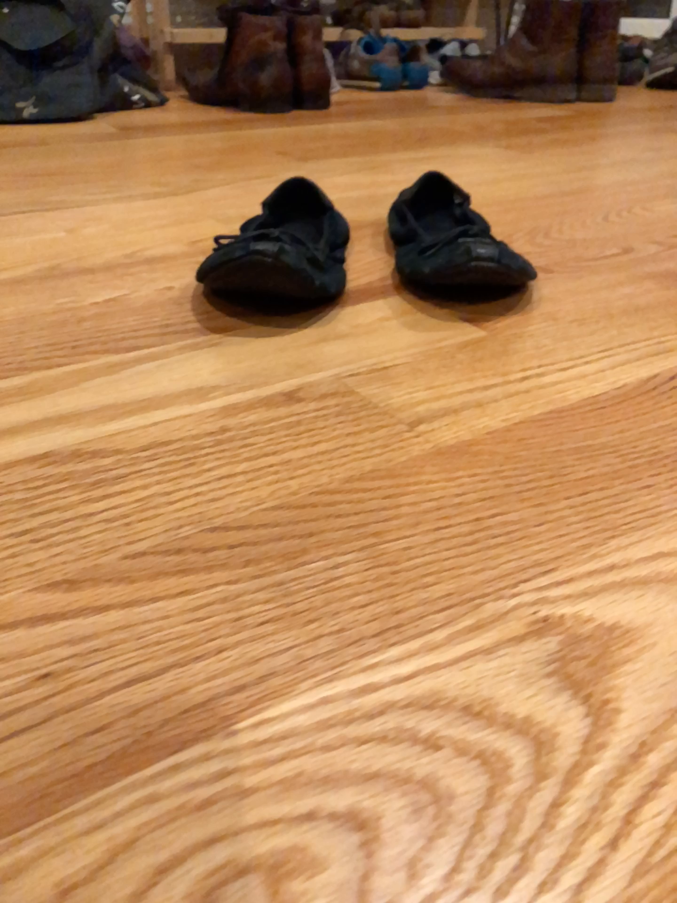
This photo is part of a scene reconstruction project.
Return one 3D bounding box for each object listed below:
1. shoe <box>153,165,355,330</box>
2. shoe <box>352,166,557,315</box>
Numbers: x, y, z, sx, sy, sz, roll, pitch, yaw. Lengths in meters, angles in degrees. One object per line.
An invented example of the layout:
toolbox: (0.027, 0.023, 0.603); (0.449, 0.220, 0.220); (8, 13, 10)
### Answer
shoe: (-0.045, -0.149, 0.515); (0.100, 0.050, 0.221); (3, 31, 3)
shoe: (0.068, -0.158, 0.533); (0.093, 0.046, 0.221); (-2, 31, -5)
